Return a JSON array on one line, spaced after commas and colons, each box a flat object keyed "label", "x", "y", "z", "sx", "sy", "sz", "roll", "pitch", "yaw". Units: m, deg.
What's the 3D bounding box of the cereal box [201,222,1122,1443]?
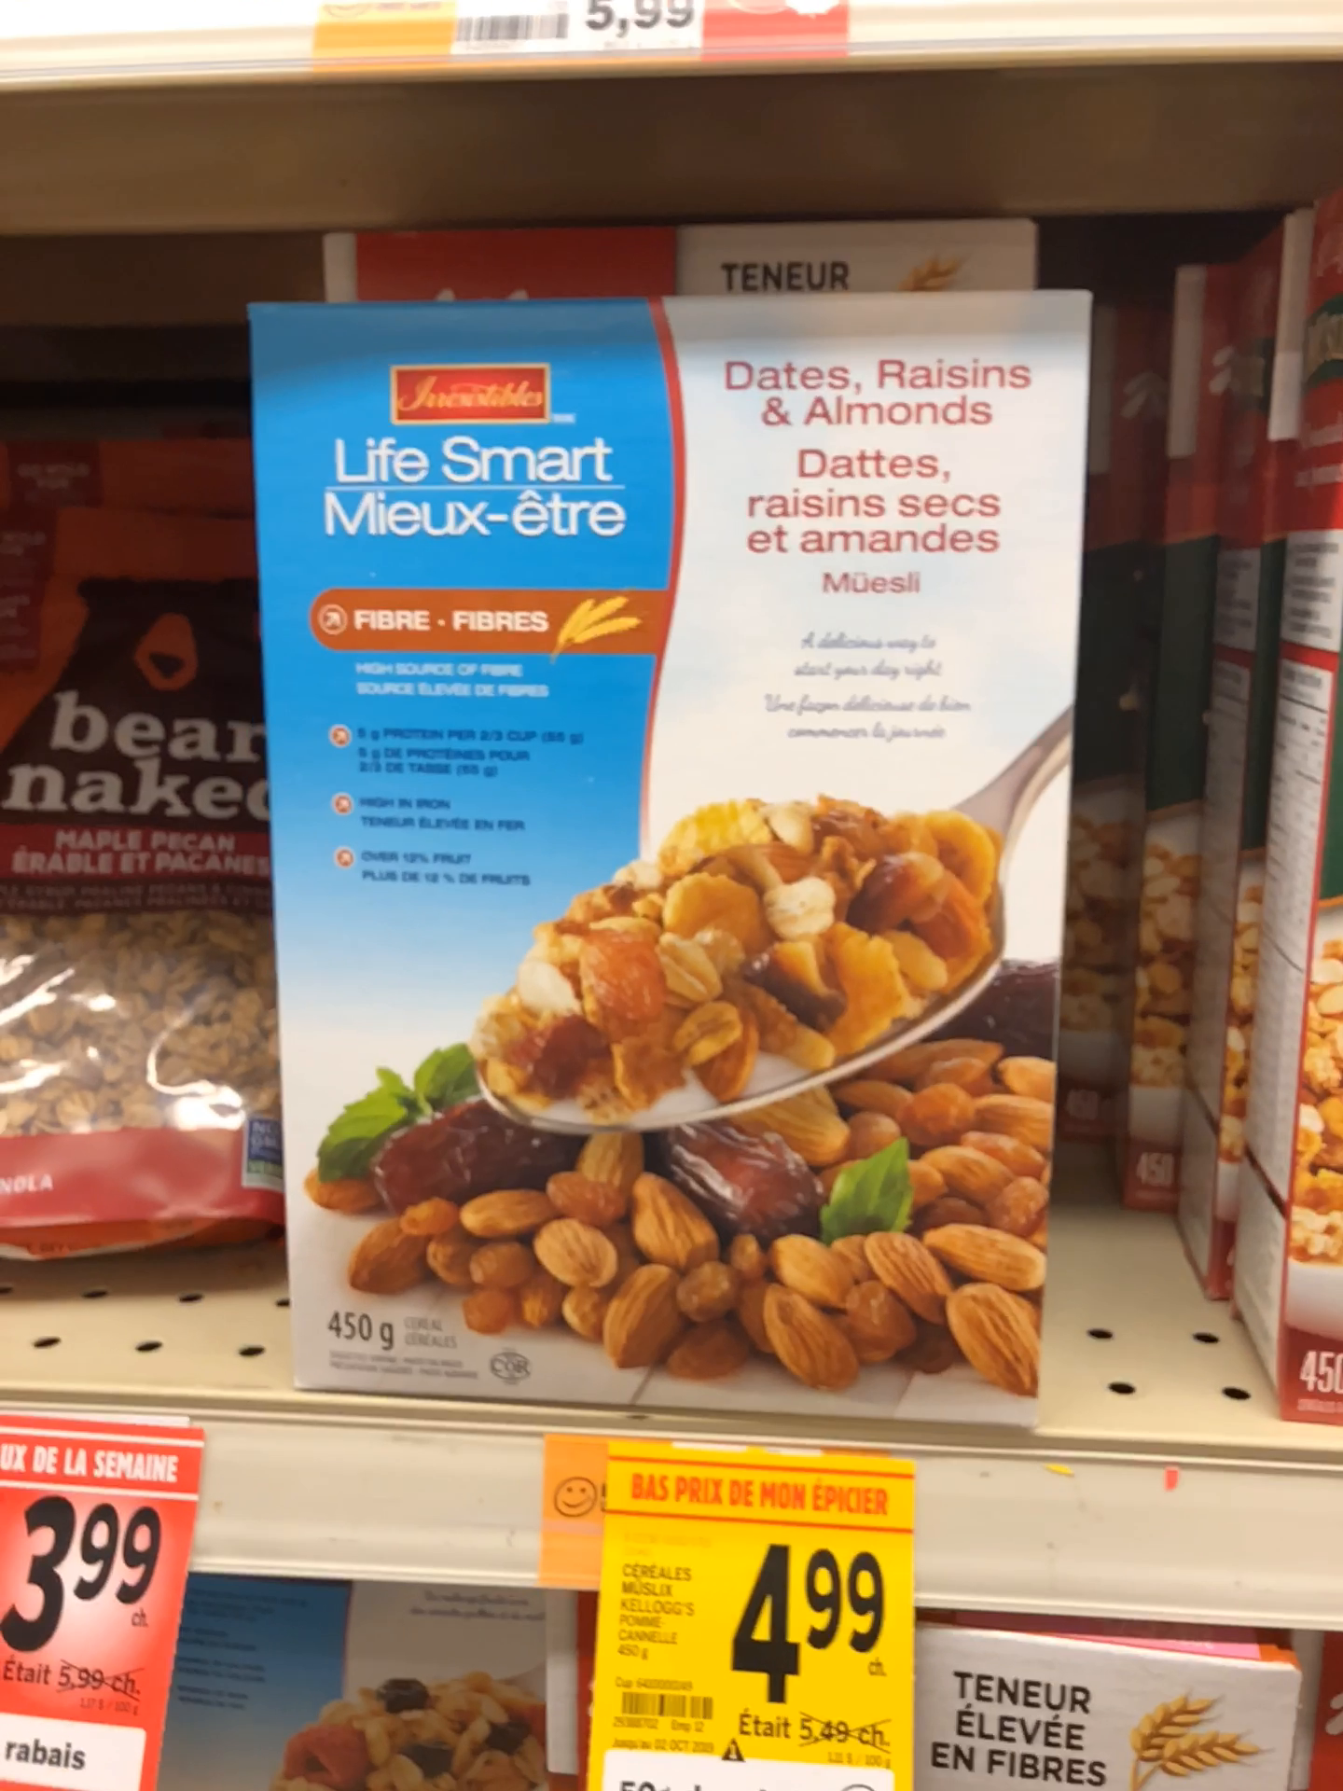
[{"label": "cereal box", "x": -0.002, "y": -0.010, "z": 0.324, "sx": 0.170, "sy": 0.239, "sz": 0.050, "roll": 1, "pitch": 12, "yaw": 7}]
